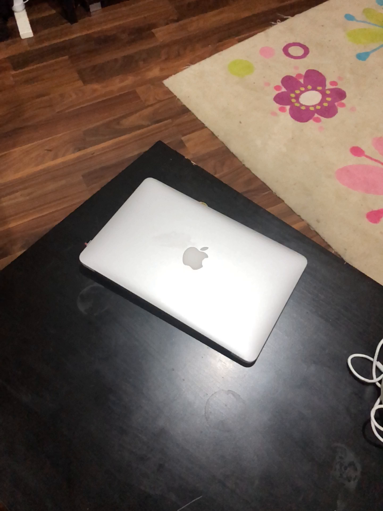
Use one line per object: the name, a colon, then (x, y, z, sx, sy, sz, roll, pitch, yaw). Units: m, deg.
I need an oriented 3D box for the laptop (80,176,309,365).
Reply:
laptop: (0.005, 0.011, 0.662, 0.300, 0.011, 0.190, 29, 68, 12)
